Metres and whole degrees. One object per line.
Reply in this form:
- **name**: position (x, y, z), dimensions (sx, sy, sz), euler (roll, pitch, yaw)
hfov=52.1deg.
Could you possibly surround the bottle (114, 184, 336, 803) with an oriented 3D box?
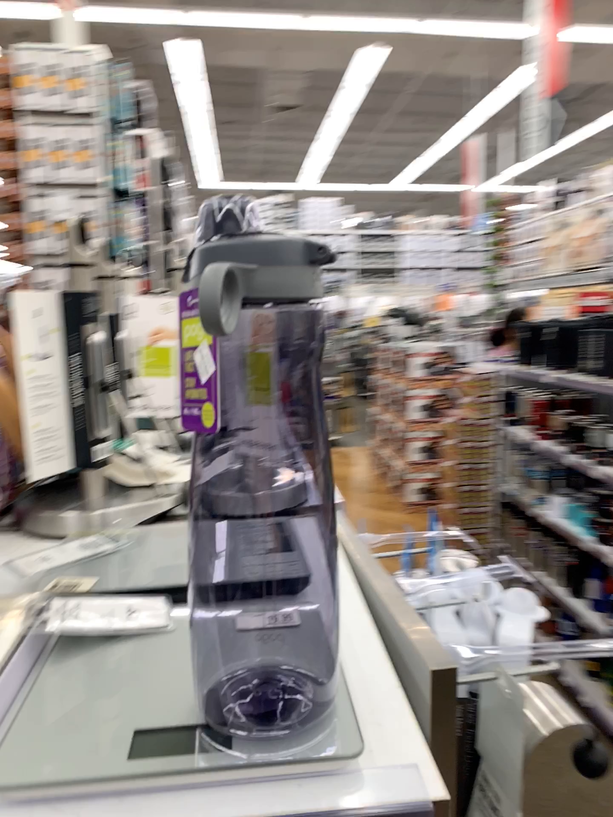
- **bottle**: position (-0.036, 0.044, 0.355), dimensions (0.100, 0.309, 0.100), euler (-1, 8, 0)
